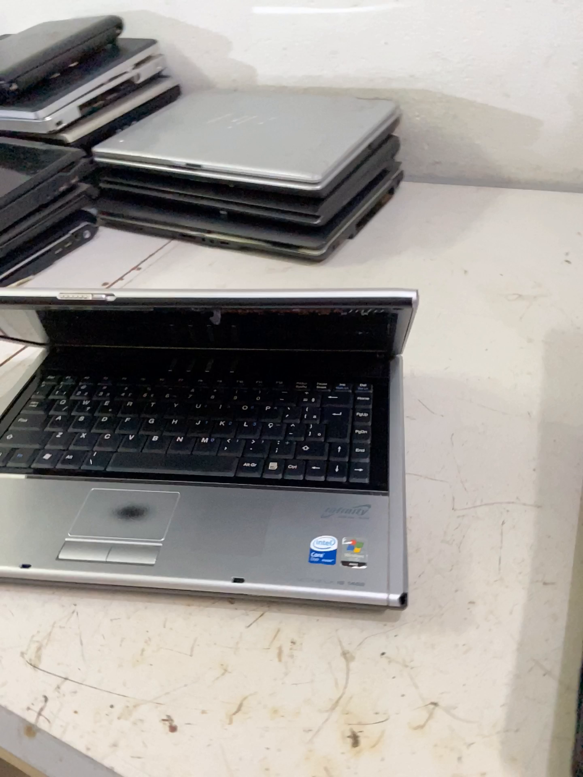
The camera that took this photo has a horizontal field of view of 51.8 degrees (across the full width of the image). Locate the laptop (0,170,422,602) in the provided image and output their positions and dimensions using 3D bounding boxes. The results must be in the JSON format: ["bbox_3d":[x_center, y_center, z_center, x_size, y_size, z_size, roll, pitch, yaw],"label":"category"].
[{"bbox_3d":[-0.090,-0.019,0.403,0.330,0.164,0.228,1,39,9],"label":"laptop"}]
